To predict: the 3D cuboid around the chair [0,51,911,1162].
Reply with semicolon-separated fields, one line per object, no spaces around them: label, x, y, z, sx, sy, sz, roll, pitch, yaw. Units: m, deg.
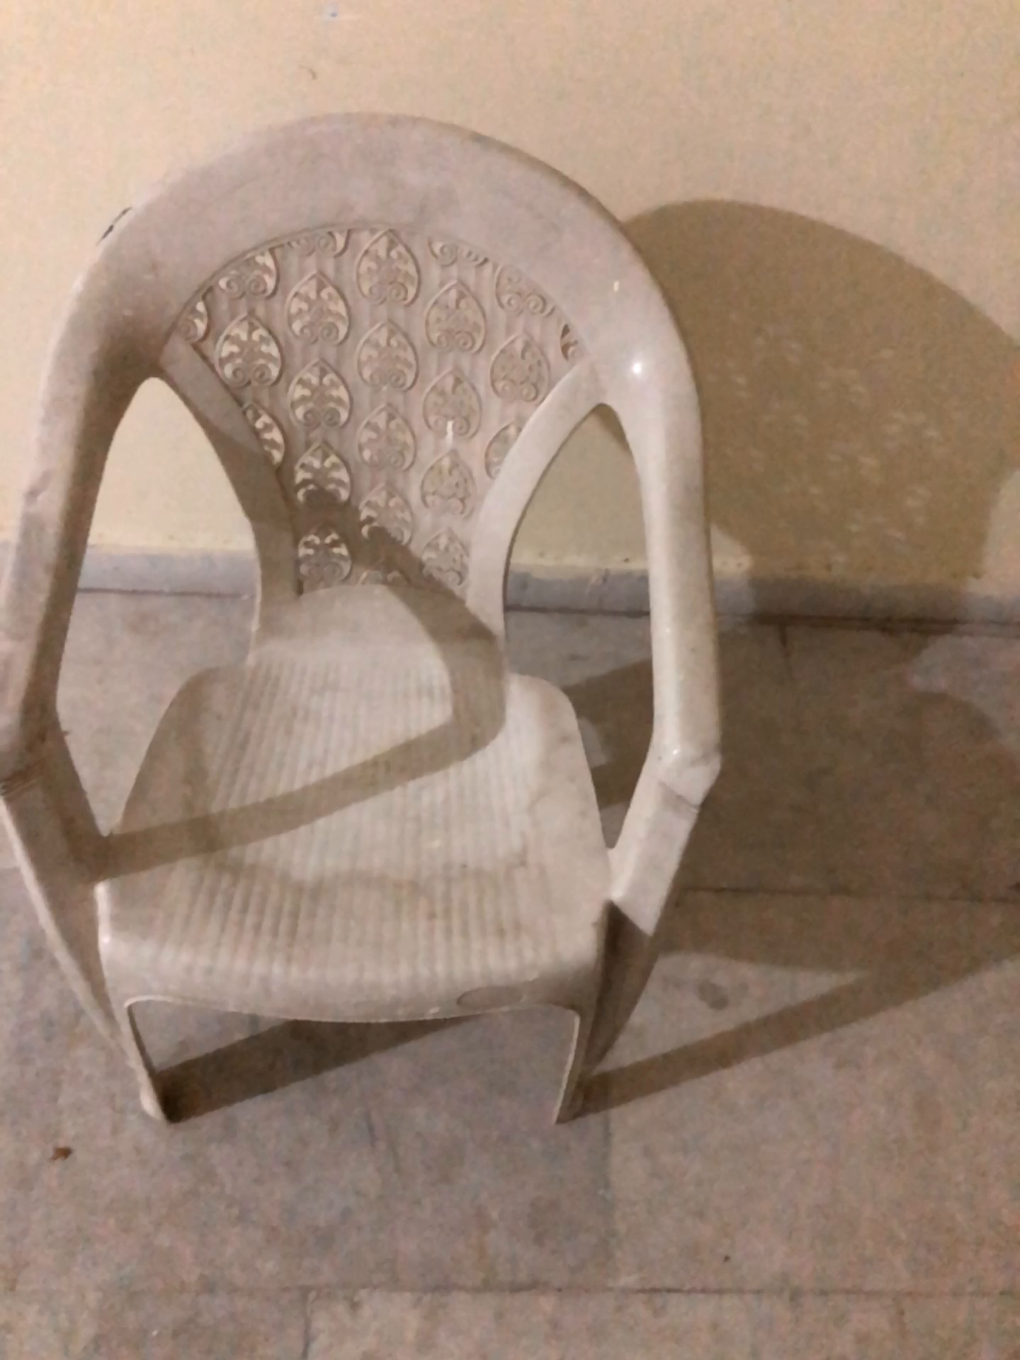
chair;-0.115;0.032;0.971;0.530;0.835;0.513;3;53;-3
